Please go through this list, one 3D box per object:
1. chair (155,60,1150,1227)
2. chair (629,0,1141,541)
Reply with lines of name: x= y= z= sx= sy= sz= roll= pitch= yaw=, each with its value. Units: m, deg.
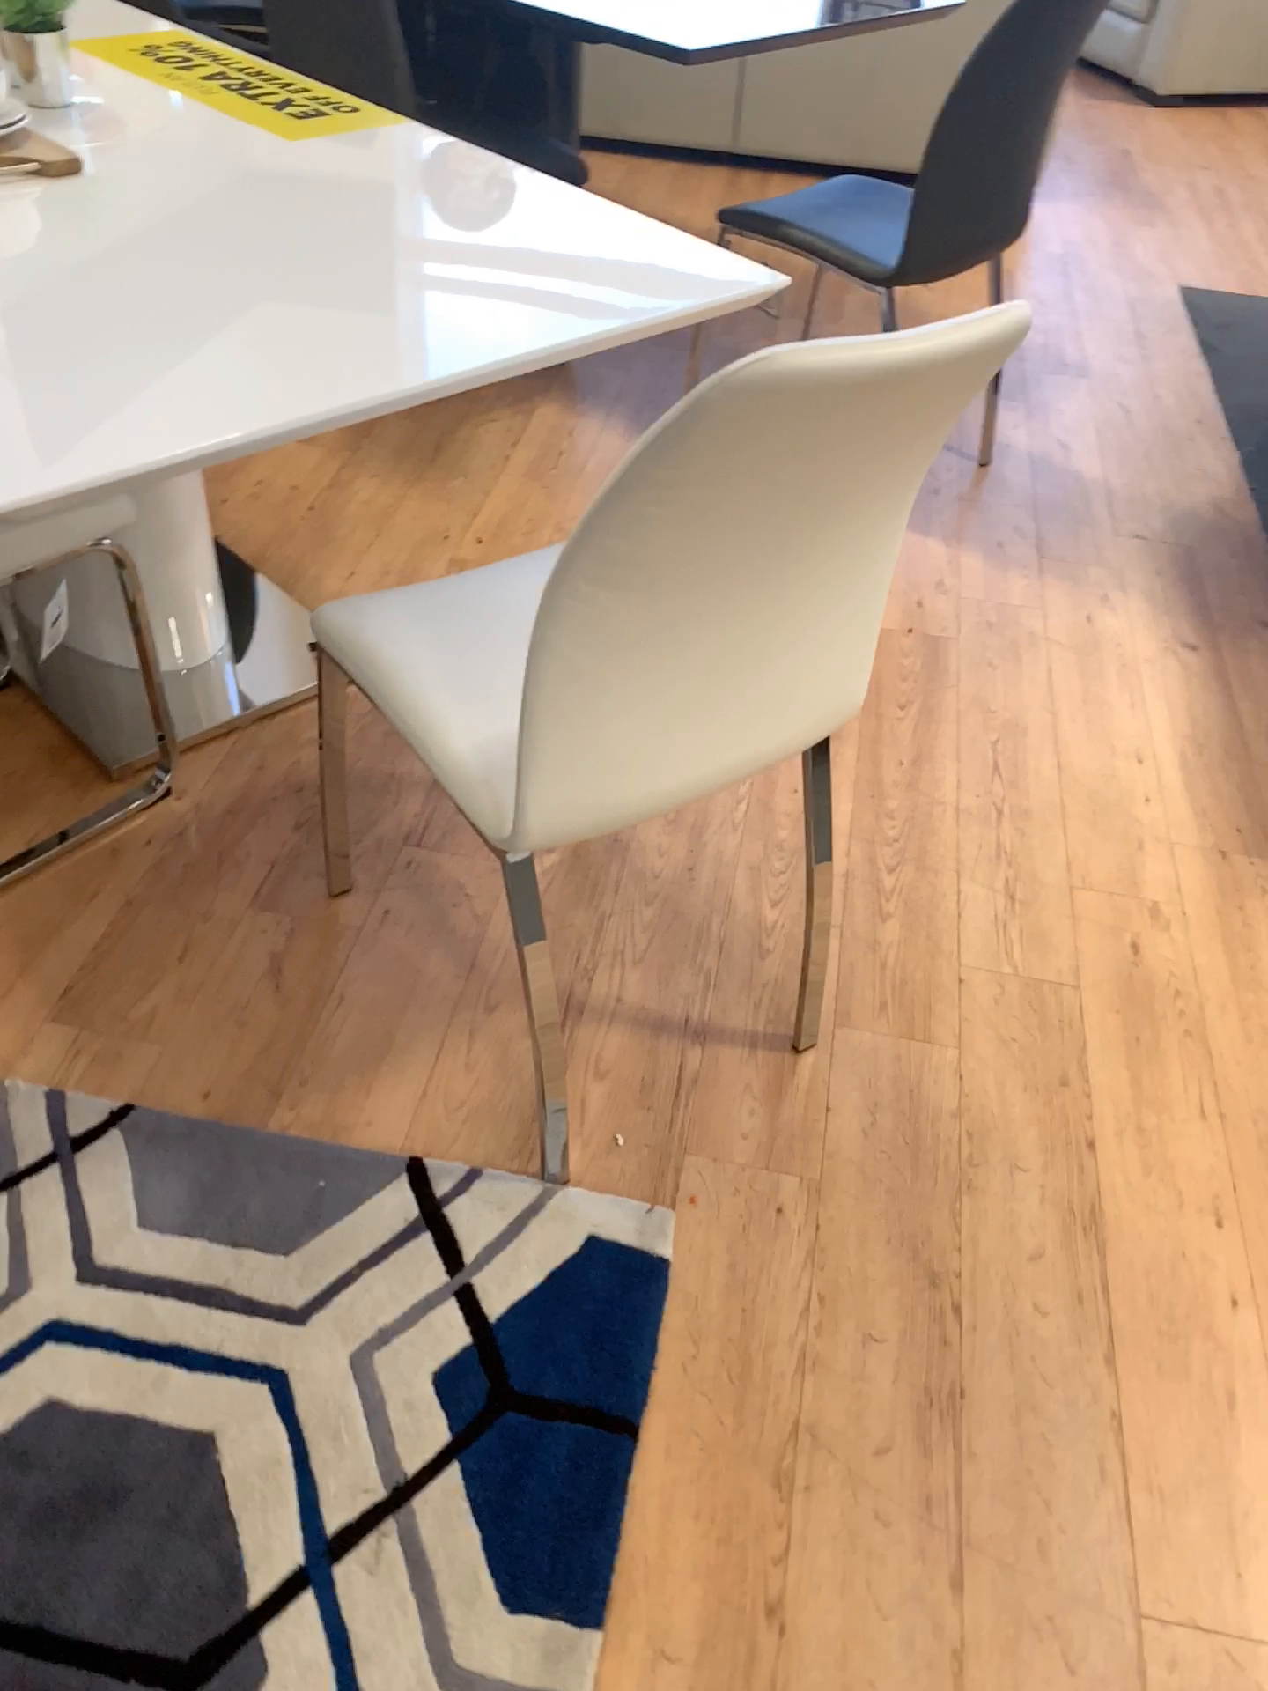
chair: x=-0.037 y=-0.211 z=1.299 sx=0.517 sy=0.863 sz=0.632 roll=-23 pitch=49 yaw=-27
chair: x=0.390 y=-1.121 z=2.292 sx=0.518 sy=0.863 sz=0.551 roll=-30 pitch=52 yaw=-32
